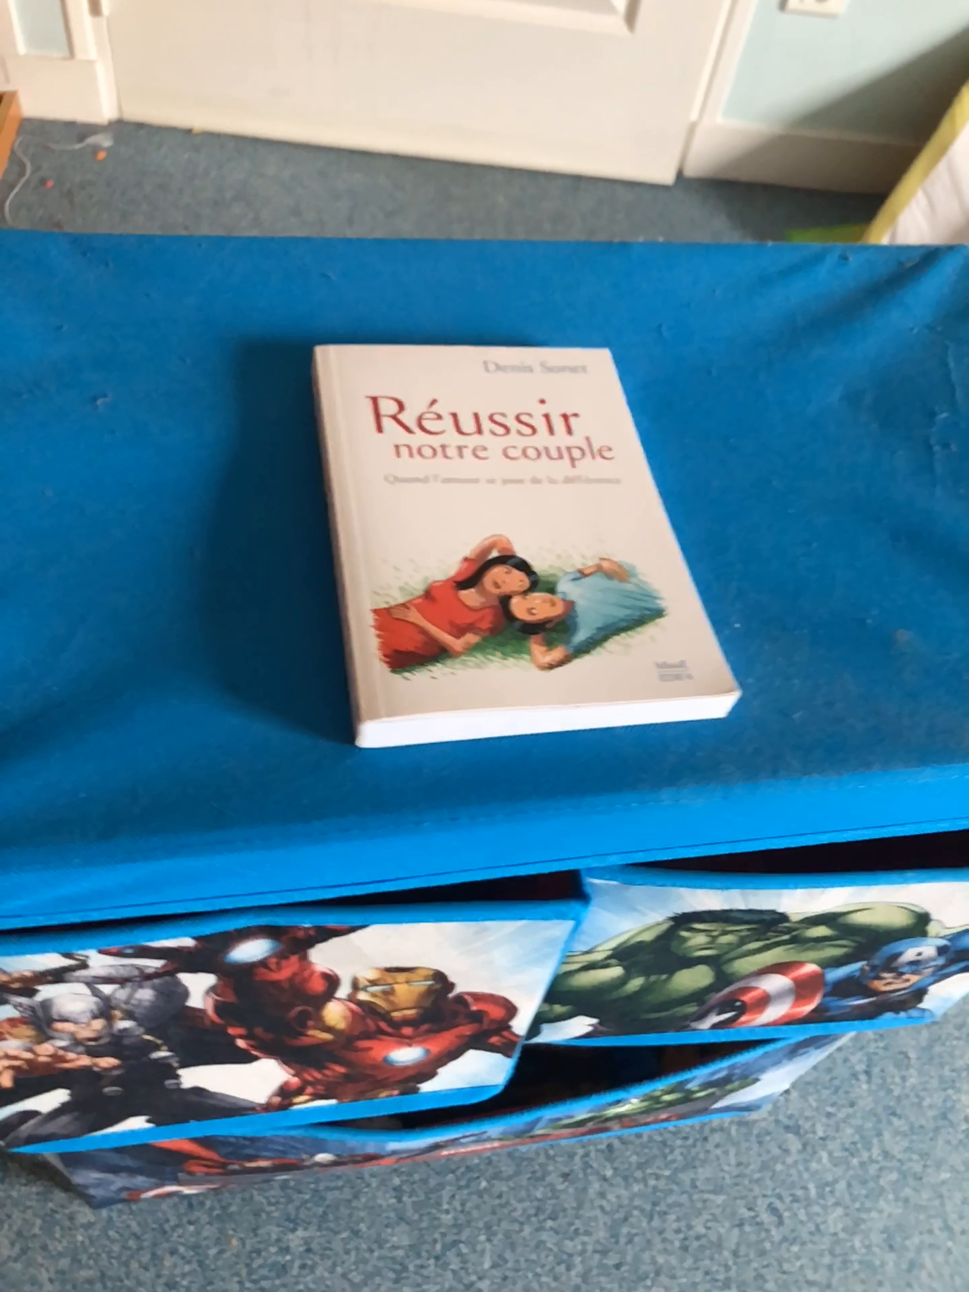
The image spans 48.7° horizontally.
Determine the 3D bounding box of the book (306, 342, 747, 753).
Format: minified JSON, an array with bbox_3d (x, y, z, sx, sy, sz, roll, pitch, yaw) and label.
[{"bbox_3d":[0.007,-0.049,0.409,0.135,0.016,0.186,-3,54,-13],"label":"book"}]
